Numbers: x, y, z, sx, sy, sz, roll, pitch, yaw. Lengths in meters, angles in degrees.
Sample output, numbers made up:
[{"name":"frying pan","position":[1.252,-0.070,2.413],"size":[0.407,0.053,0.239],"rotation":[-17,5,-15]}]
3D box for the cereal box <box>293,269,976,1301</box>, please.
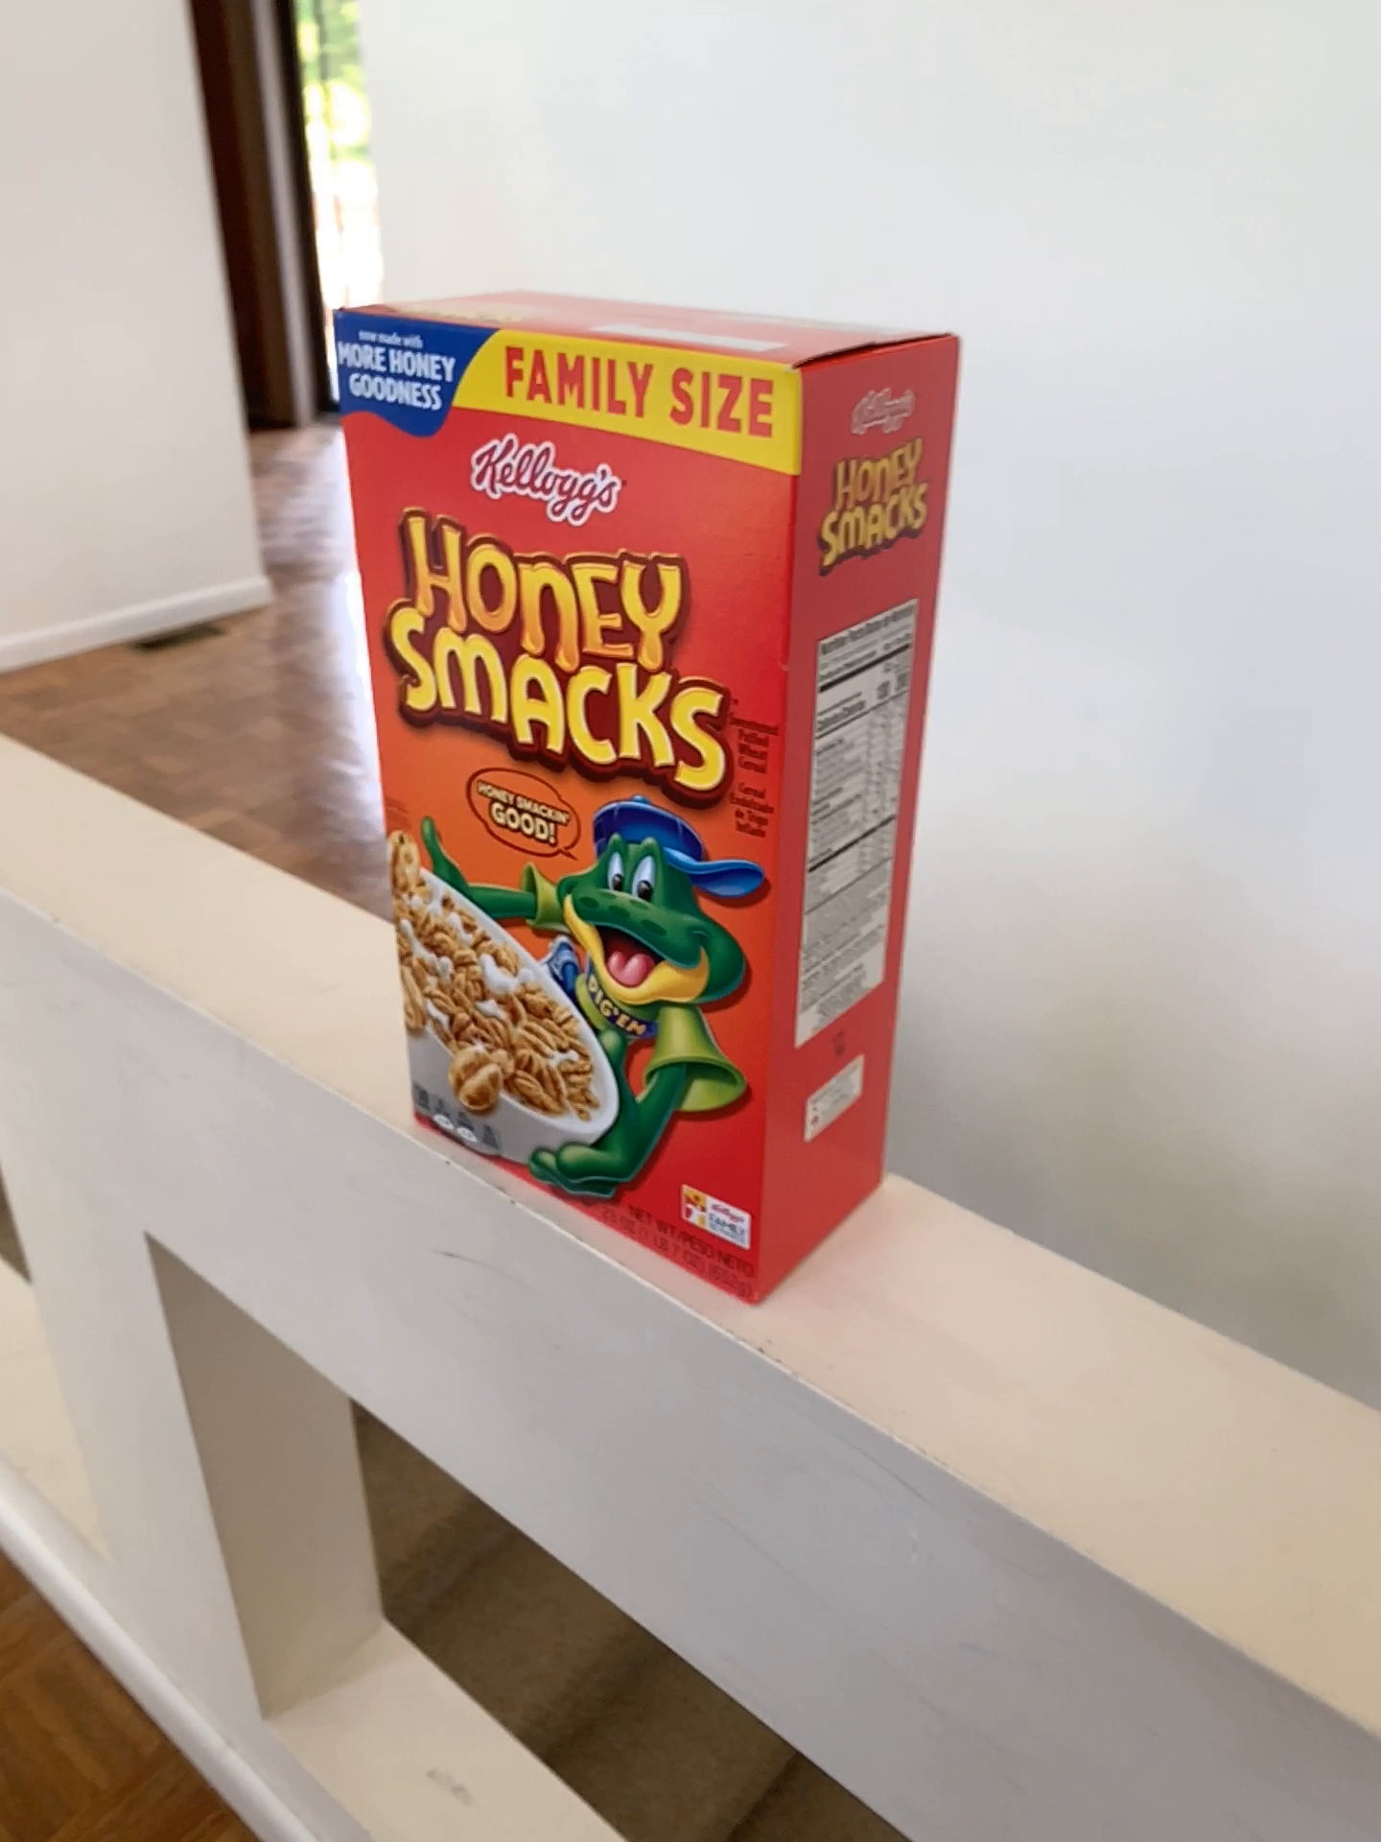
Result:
[{"name":"cereal box","position":[-0.026,-0.057,0.550],"size":[0.210,0.338,0.100],"rotation":[21,34,33]}]
